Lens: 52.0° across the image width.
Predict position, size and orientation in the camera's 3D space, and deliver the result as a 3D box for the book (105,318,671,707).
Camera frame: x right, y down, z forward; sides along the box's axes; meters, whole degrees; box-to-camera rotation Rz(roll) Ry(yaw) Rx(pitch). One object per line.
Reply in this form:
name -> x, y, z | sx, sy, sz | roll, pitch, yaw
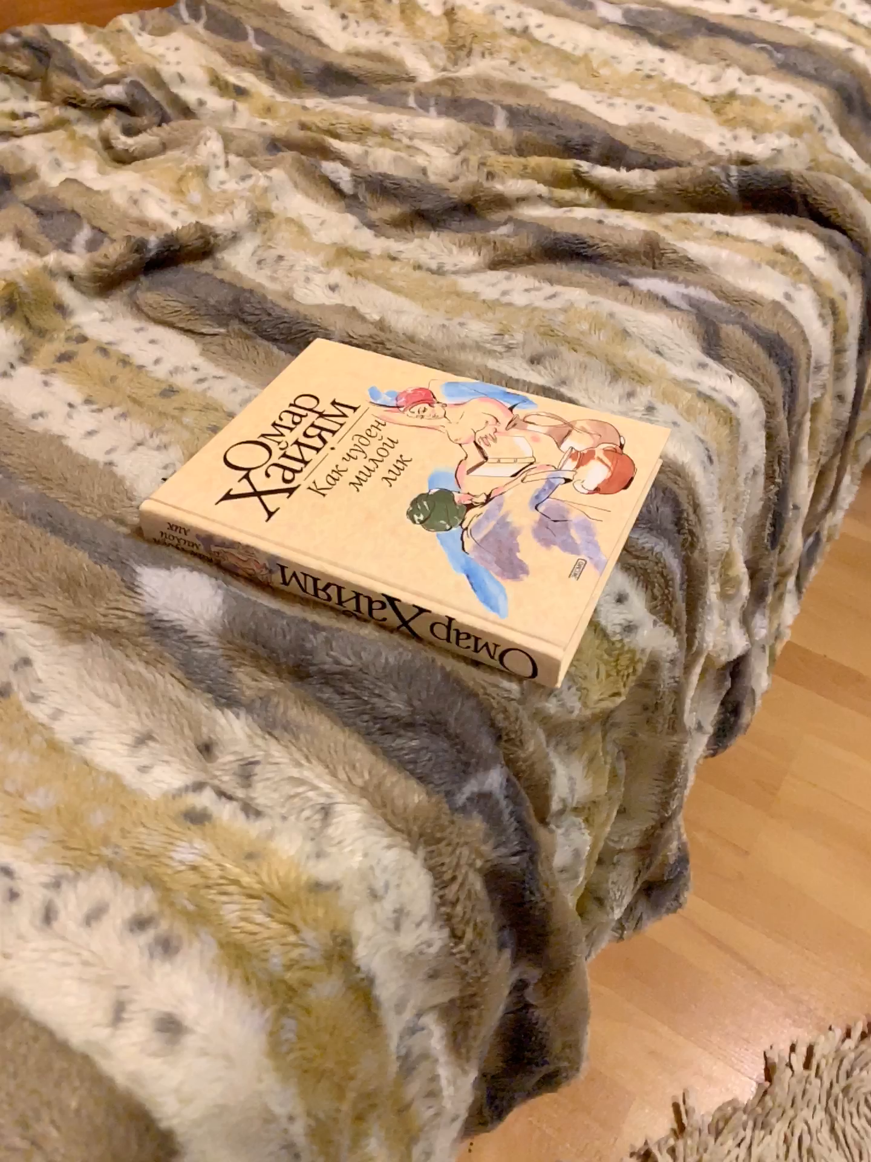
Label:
book -> -0.017, -0.050, 0.444 | 0.220, 0.030, 0.171 | 20, 50, 17
